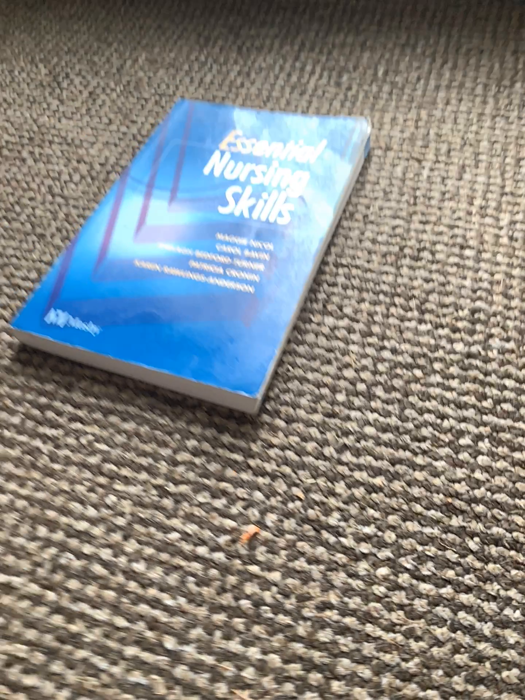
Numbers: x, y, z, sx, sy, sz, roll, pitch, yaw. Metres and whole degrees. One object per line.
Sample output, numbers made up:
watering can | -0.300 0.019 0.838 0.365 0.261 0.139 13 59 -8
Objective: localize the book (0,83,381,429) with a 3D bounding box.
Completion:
book | -0.037 -0.086 0.360 0.170 0.020 0.251 14 61 16
